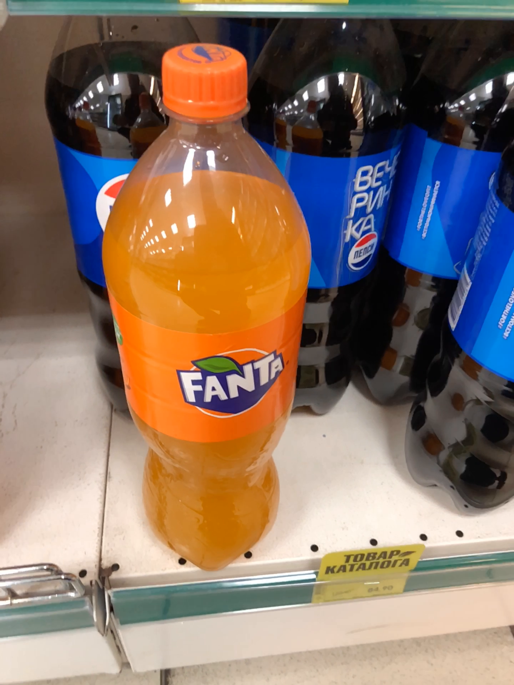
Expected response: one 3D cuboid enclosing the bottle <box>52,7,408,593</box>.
[{"bbox_3d":[-0.019,0.012,0.297,0.100,0.308,0.090,-6,44,-9],"label":"bottle"}]
